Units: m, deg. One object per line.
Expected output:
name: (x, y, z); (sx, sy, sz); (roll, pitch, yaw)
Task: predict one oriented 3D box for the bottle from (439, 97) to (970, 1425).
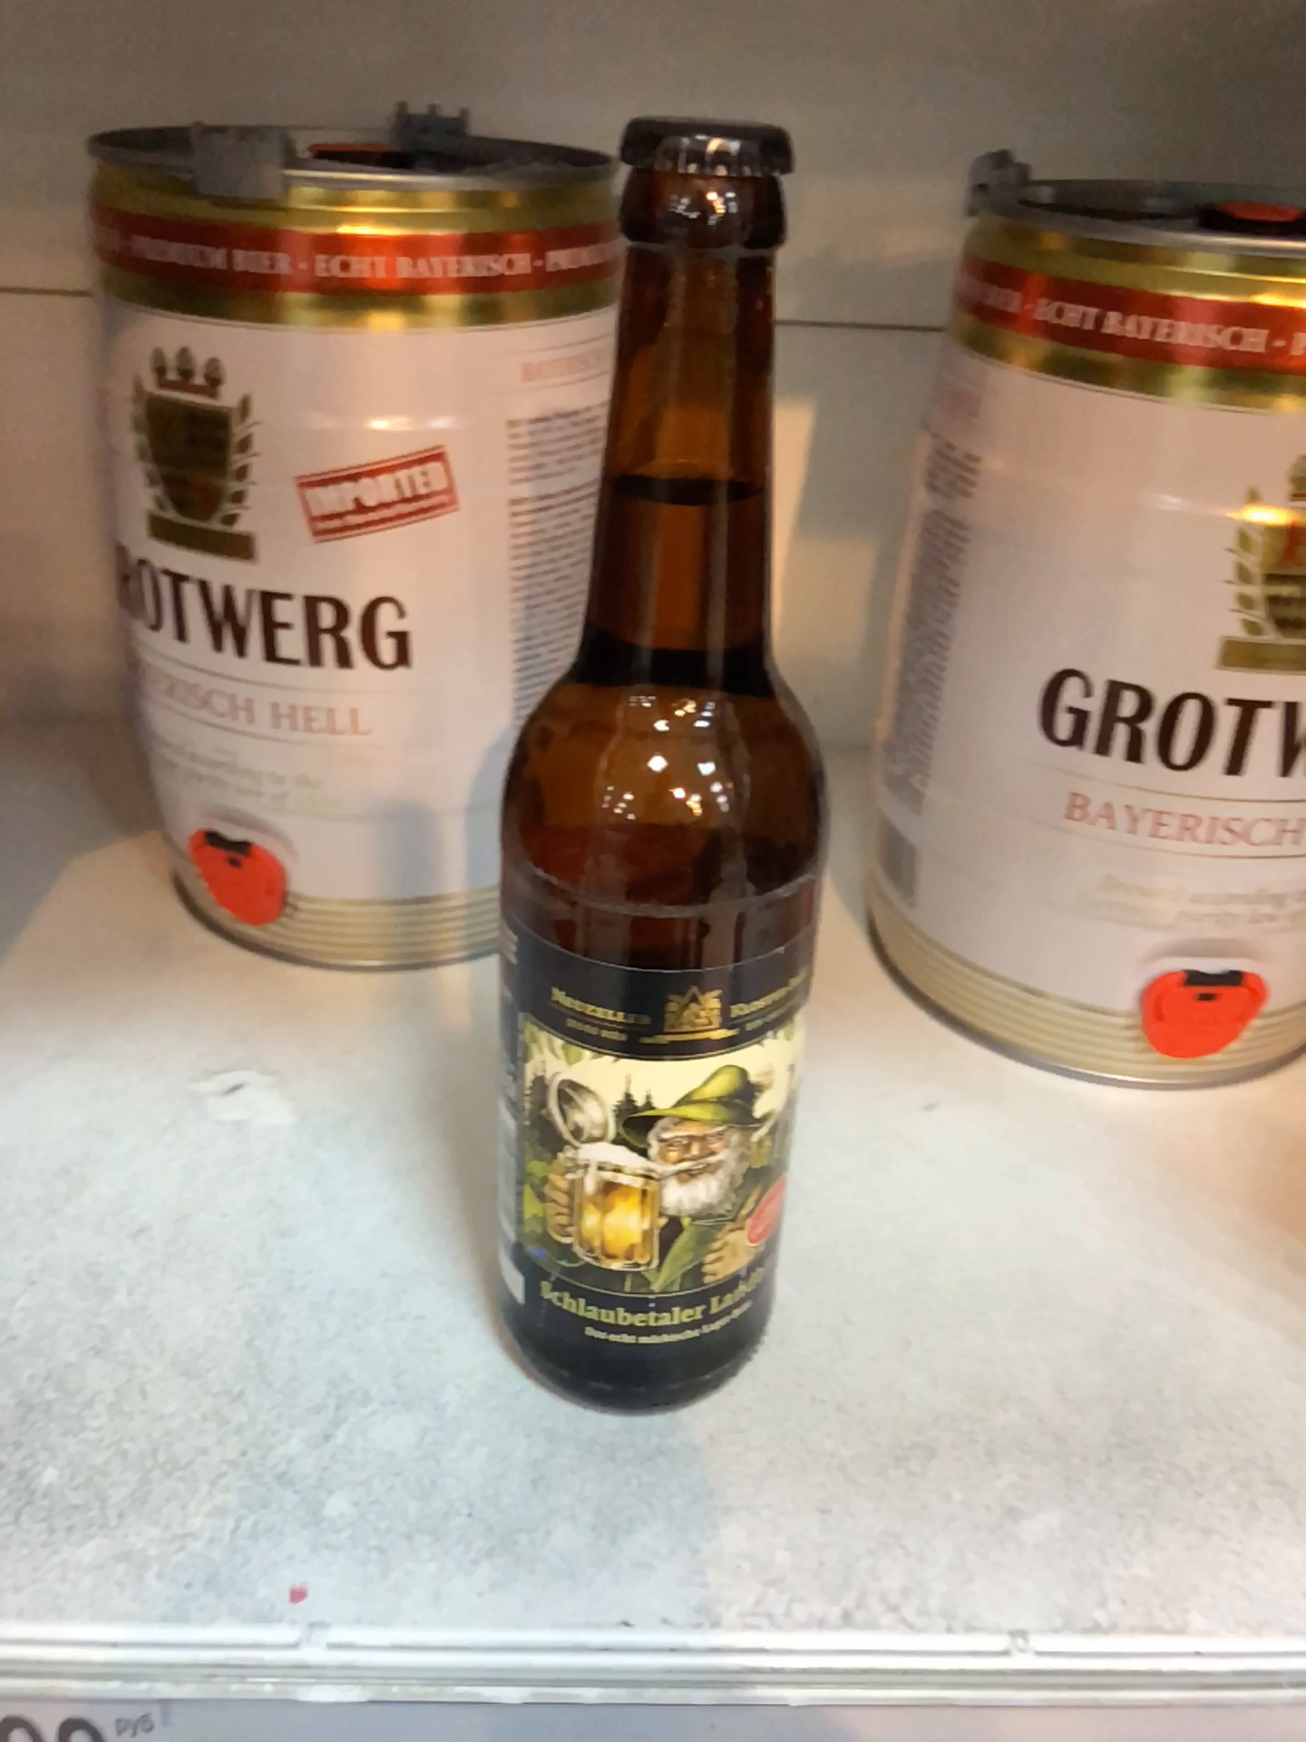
bottle: (0.000, -0.004, 0.286); (0.071, 0.257, 0.064); (0, 31, -4)
